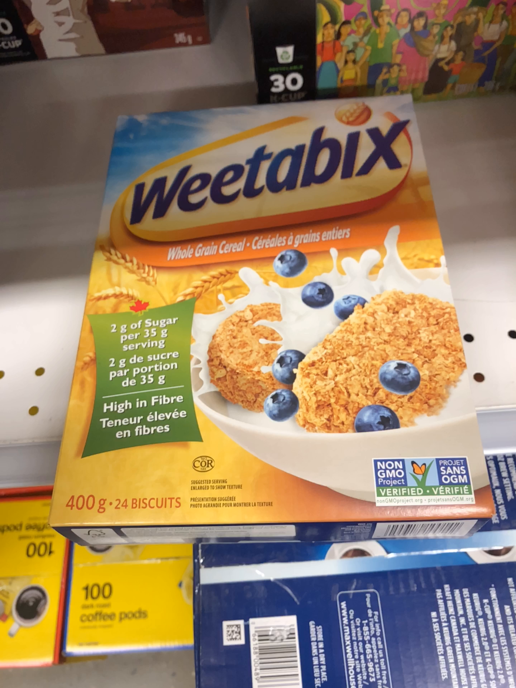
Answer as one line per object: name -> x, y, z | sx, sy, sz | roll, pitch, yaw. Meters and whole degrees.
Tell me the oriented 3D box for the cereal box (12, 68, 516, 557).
cereal box -> 0.004, -0.038, 0.329 | 0.210, 0.050, 0.290 | -3, 59, 4
